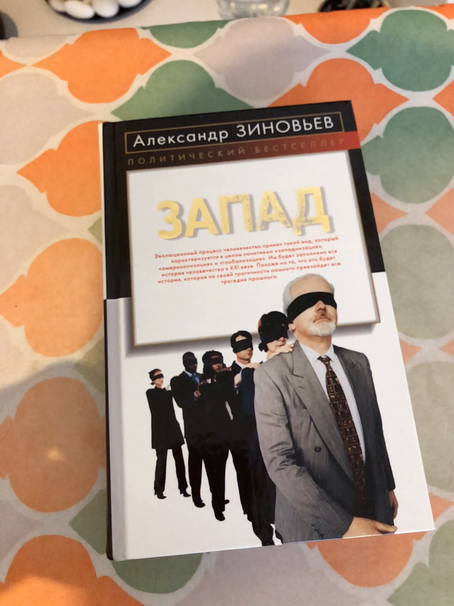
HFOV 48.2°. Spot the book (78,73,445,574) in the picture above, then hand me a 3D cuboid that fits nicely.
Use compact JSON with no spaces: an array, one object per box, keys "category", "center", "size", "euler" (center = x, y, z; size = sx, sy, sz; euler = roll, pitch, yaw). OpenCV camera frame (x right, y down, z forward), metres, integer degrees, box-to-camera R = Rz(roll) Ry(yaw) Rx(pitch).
[{"category":"book","center":[0.004,-0.001,0.246],"size":[0.140,0.040,0.220],"euler":[-5,72,1]}]
